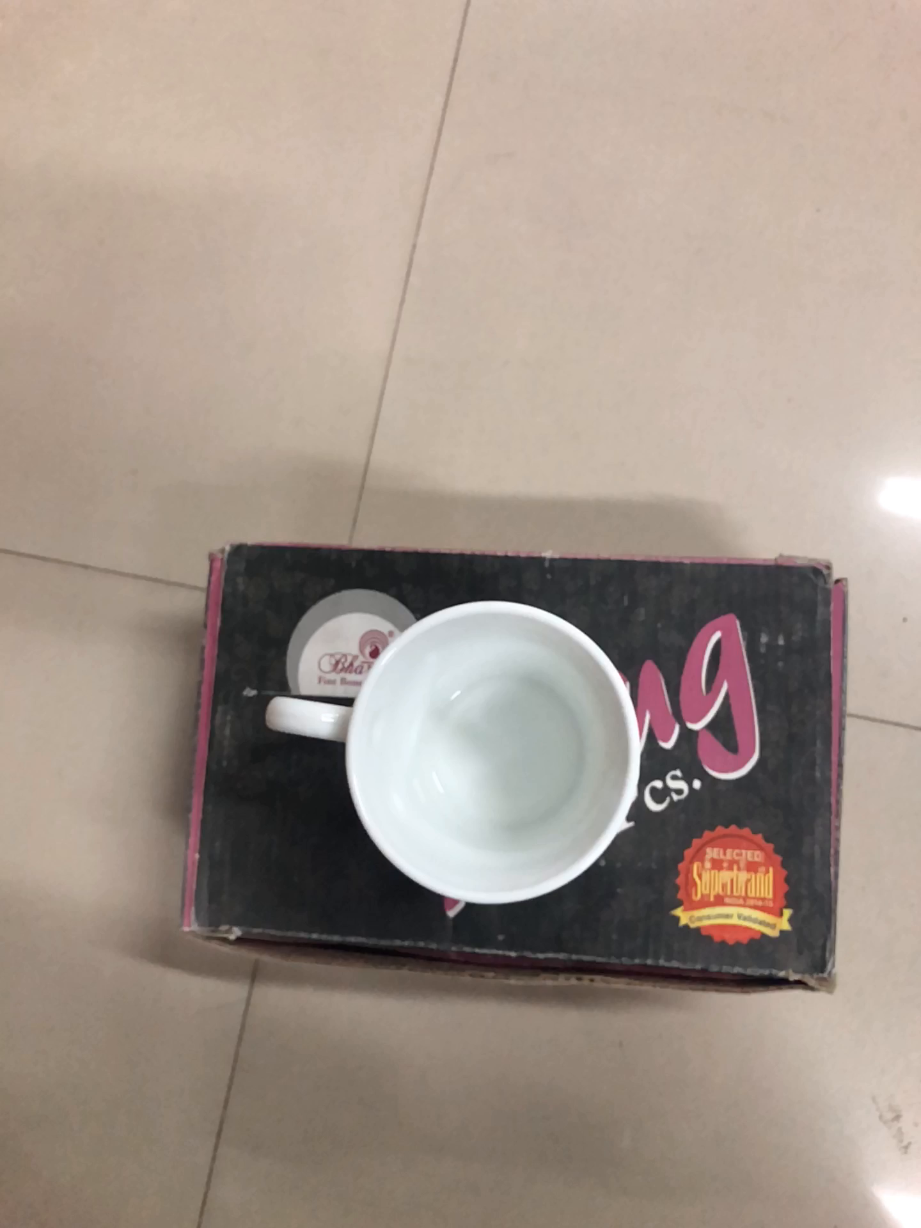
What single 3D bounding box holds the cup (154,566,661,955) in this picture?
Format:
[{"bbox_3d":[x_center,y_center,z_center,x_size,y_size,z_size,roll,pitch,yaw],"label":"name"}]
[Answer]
[{"bbox_3d":[-0.009,0.042,0.315,0.120,0.100,0.080,9,83,7],"label":"cup"}]
